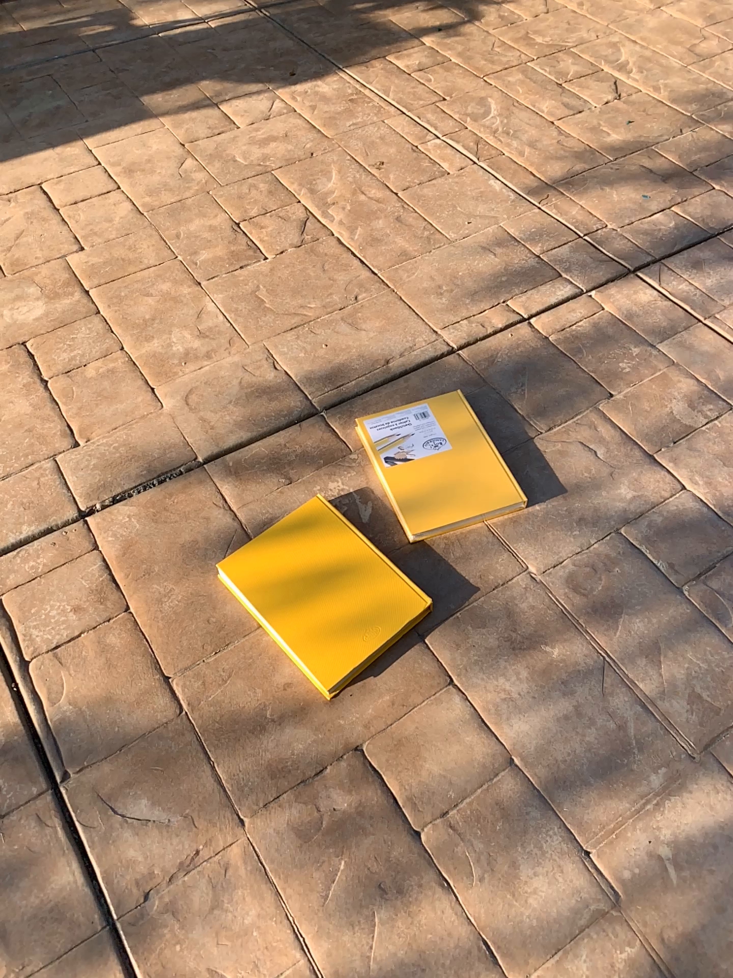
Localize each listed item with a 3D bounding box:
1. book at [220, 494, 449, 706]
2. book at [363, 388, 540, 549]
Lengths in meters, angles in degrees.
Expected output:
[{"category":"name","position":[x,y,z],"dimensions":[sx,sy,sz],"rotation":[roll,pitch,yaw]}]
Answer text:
[{"category":"book","position":[-0.053,0.159,1.173],"dimensions":[0.220,0.030,0.289],"rotation":[-36,59,-24]},{"category":"book","position":[0.143,-0.046,1.327],"dimensions":[0.220,0.030,0.274],"rotation":[-17,57,-11]}]
